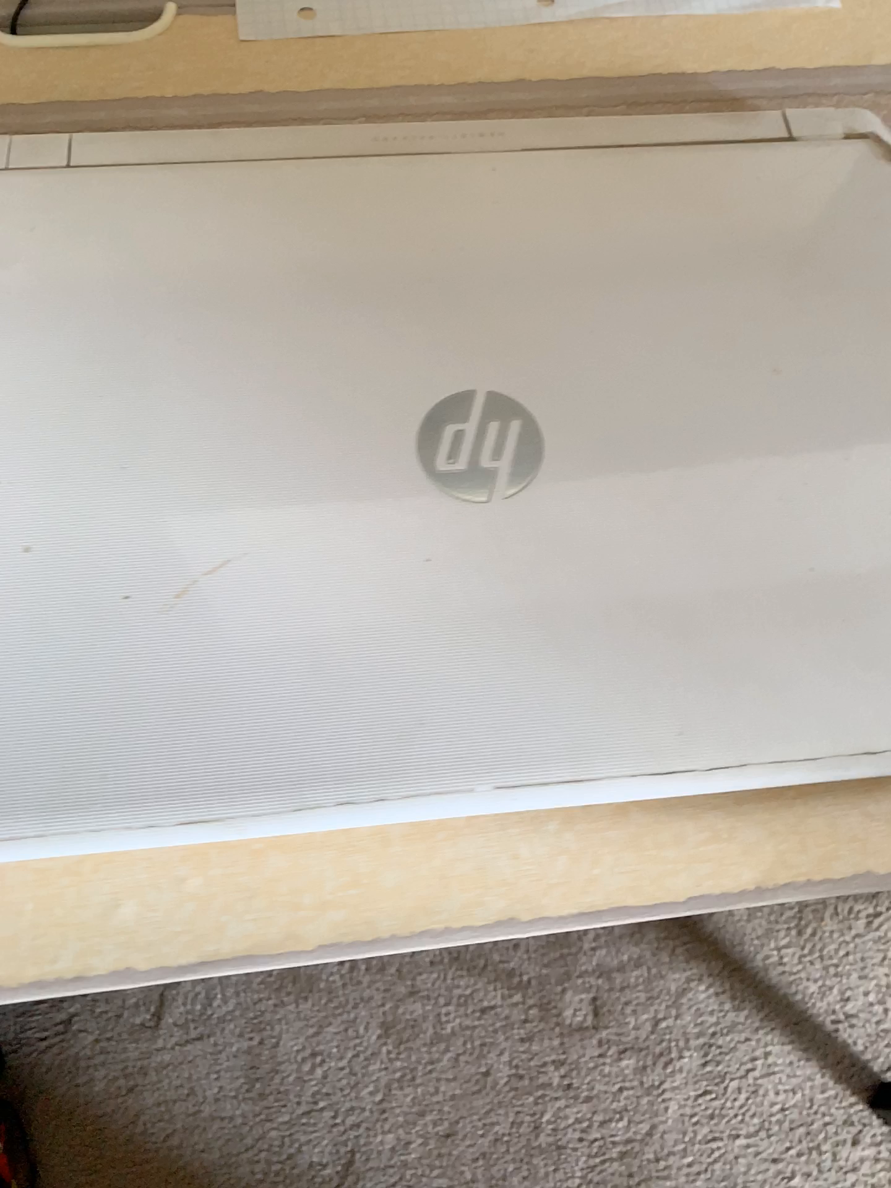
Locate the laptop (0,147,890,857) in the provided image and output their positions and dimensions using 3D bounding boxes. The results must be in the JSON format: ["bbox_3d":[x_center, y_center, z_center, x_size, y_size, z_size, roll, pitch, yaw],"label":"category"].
[{"bbox_3d":[0.013,-0.050,0.303,0.363,0.002,0.229,-5,70,-4],"label":"laptop"}]
